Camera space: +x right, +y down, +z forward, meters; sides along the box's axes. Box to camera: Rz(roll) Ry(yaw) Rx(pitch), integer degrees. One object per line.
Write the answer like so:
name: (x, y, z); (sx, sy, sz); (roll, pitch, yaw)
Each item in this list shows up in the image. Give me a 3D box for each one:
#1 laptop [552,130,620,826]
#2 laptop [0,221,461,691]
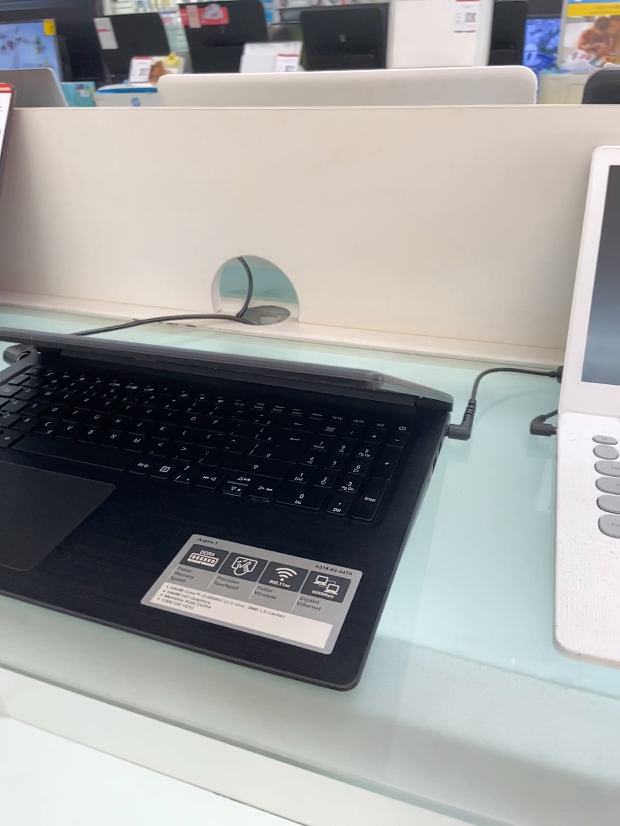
laptop: (0.339, -0.028, 0.332); (0.381, 0.165, 0.353); (8, 32, 16)
laptop: (-0.122, -0.021, 0.396); (0.379, 0.123, 0.240); (8, 32, 20)
